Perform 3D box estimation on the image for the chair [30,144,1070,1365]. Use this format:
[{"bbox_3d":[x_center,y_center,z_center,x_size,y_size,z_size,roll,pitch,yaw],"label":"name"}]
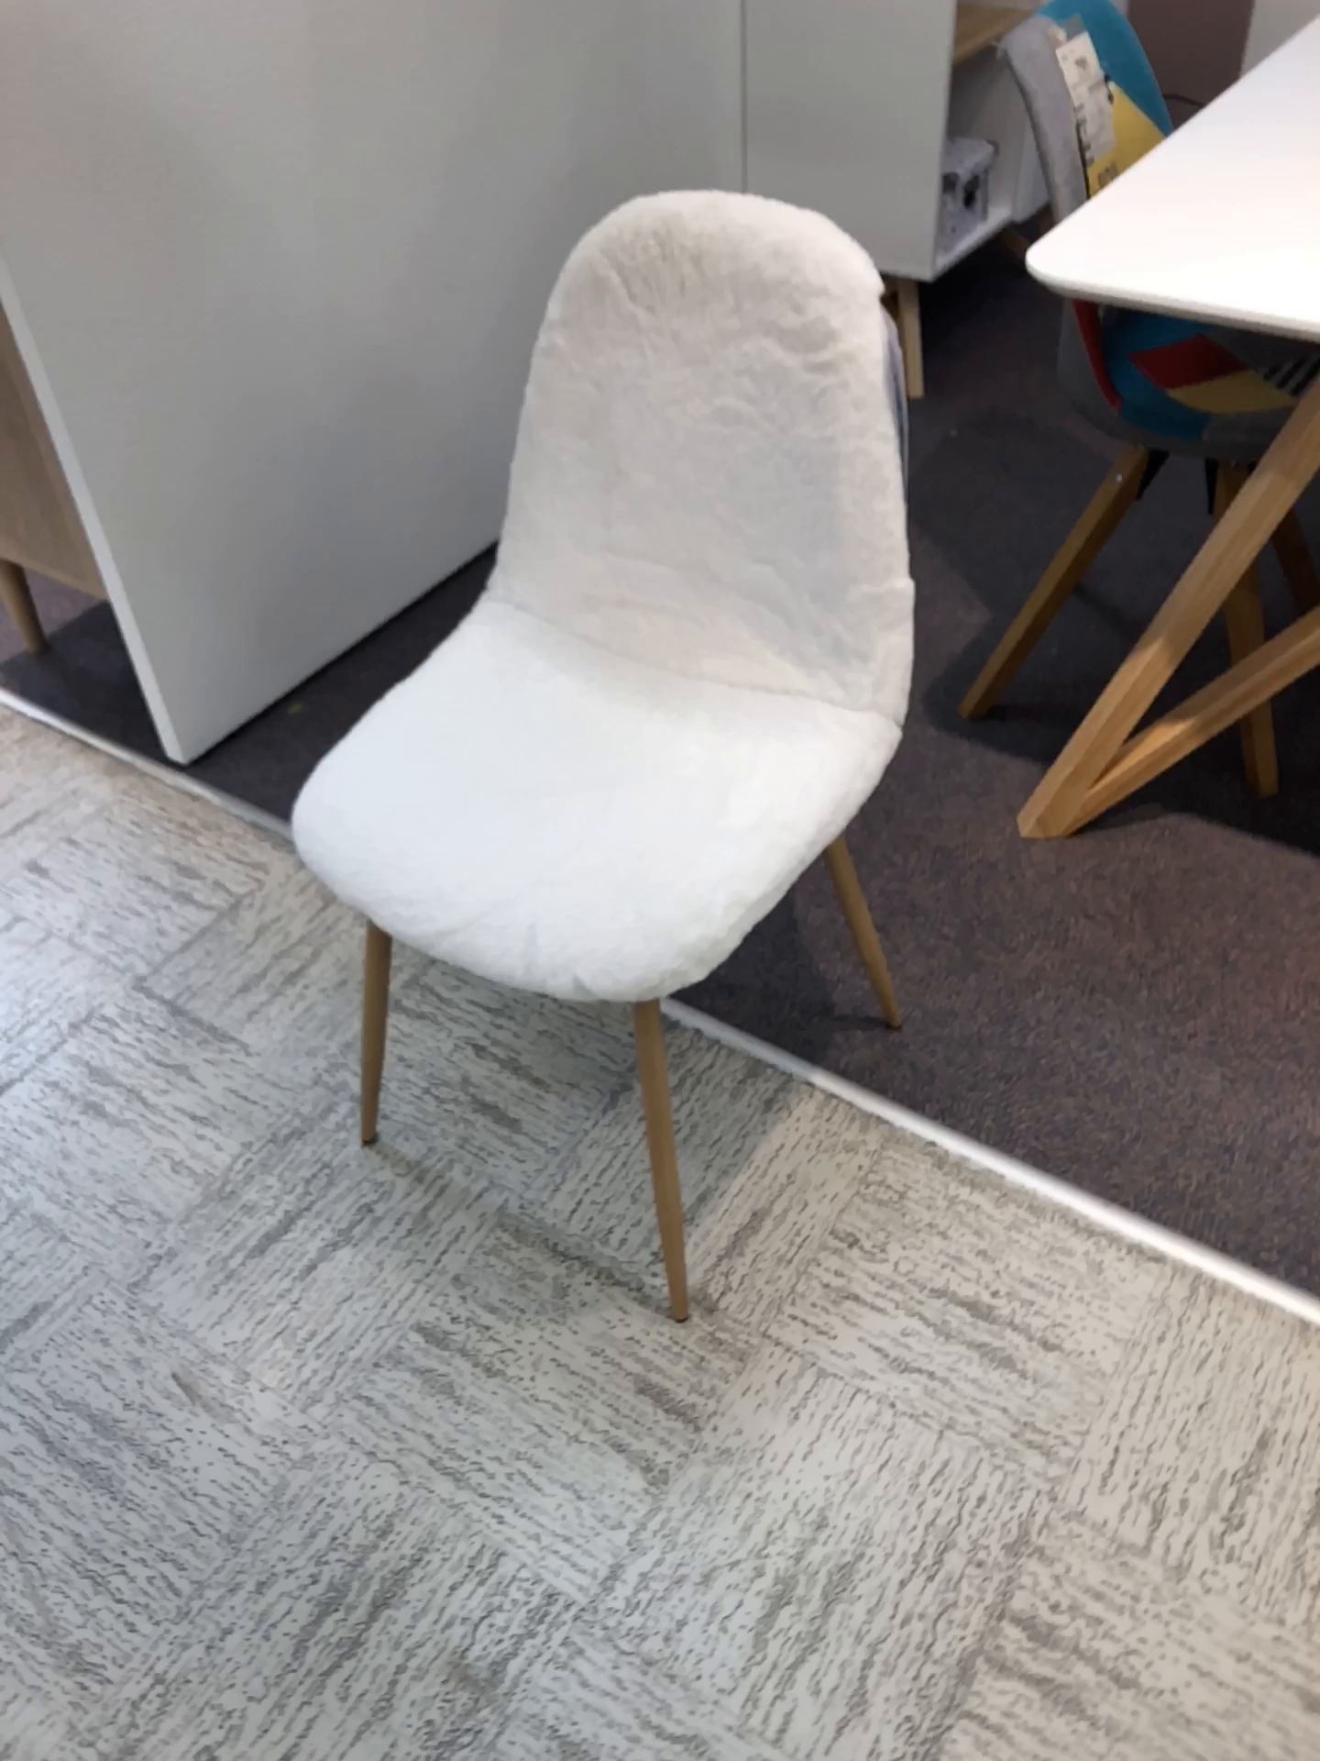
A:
[{"bbox_3d":[-0.035,-0.112,1.306,0.520,0.815,0.553,21,48,24],"label":"chair"}]
